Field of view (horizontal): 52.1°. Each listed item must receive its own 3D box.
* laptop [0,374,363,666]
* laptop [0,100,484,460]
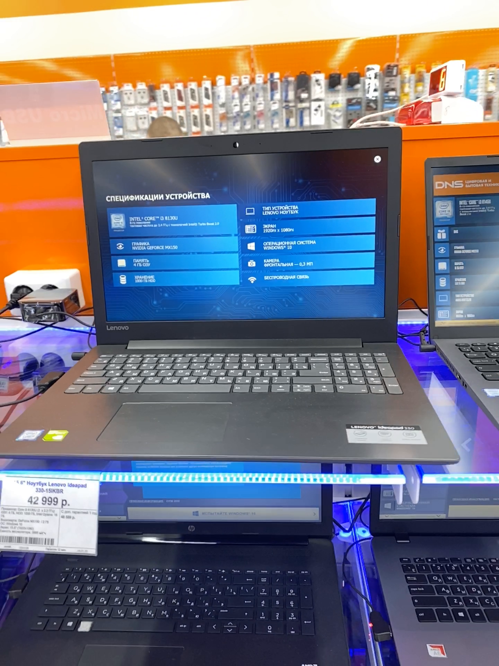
[{"bbox_3d":[-0.101,0.217,0.591,0.400,0.263,0.272,-1,16,3],"label":"laptop"},{"bbox_3d":[-0.030,-0.067,0.497,0.377,0.245,0.290,-1,18,5],"label":"laptop"}]
